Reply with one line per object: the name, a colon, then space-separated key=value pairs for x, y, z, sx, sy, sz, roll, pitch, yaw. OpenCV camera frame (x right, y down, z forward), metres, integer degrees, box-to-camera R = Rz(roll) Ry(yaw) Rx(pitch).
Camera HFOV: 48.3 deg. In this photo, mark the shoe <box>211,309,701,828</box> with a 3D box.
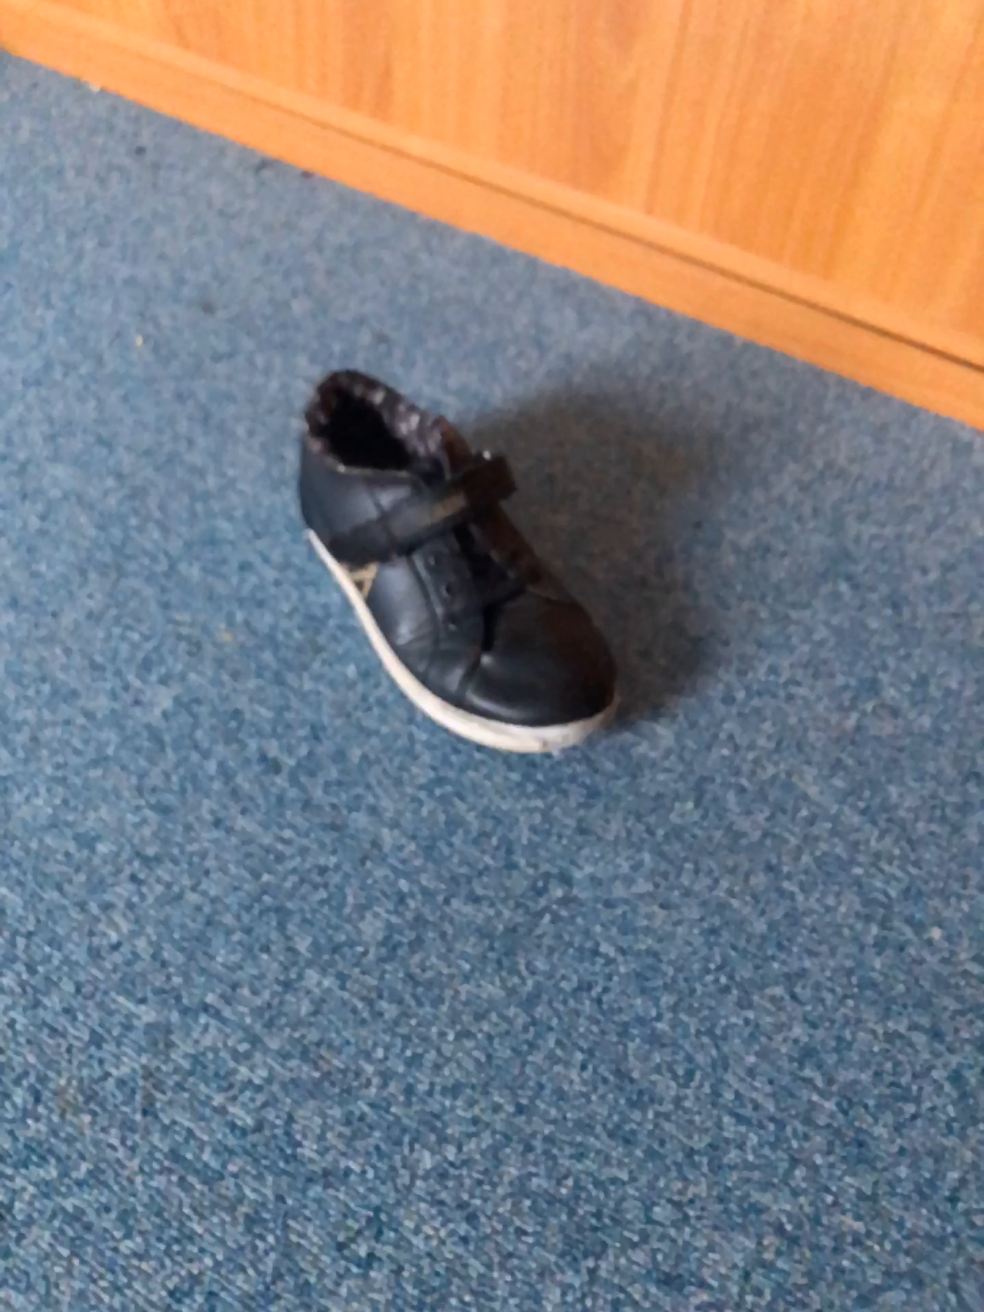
shoe: x=-0.027 y=-0.053 z=0.517 sx=0.110 sy=0.090 sz=0.230 roll=-24 pitch=56 yaw=-24
